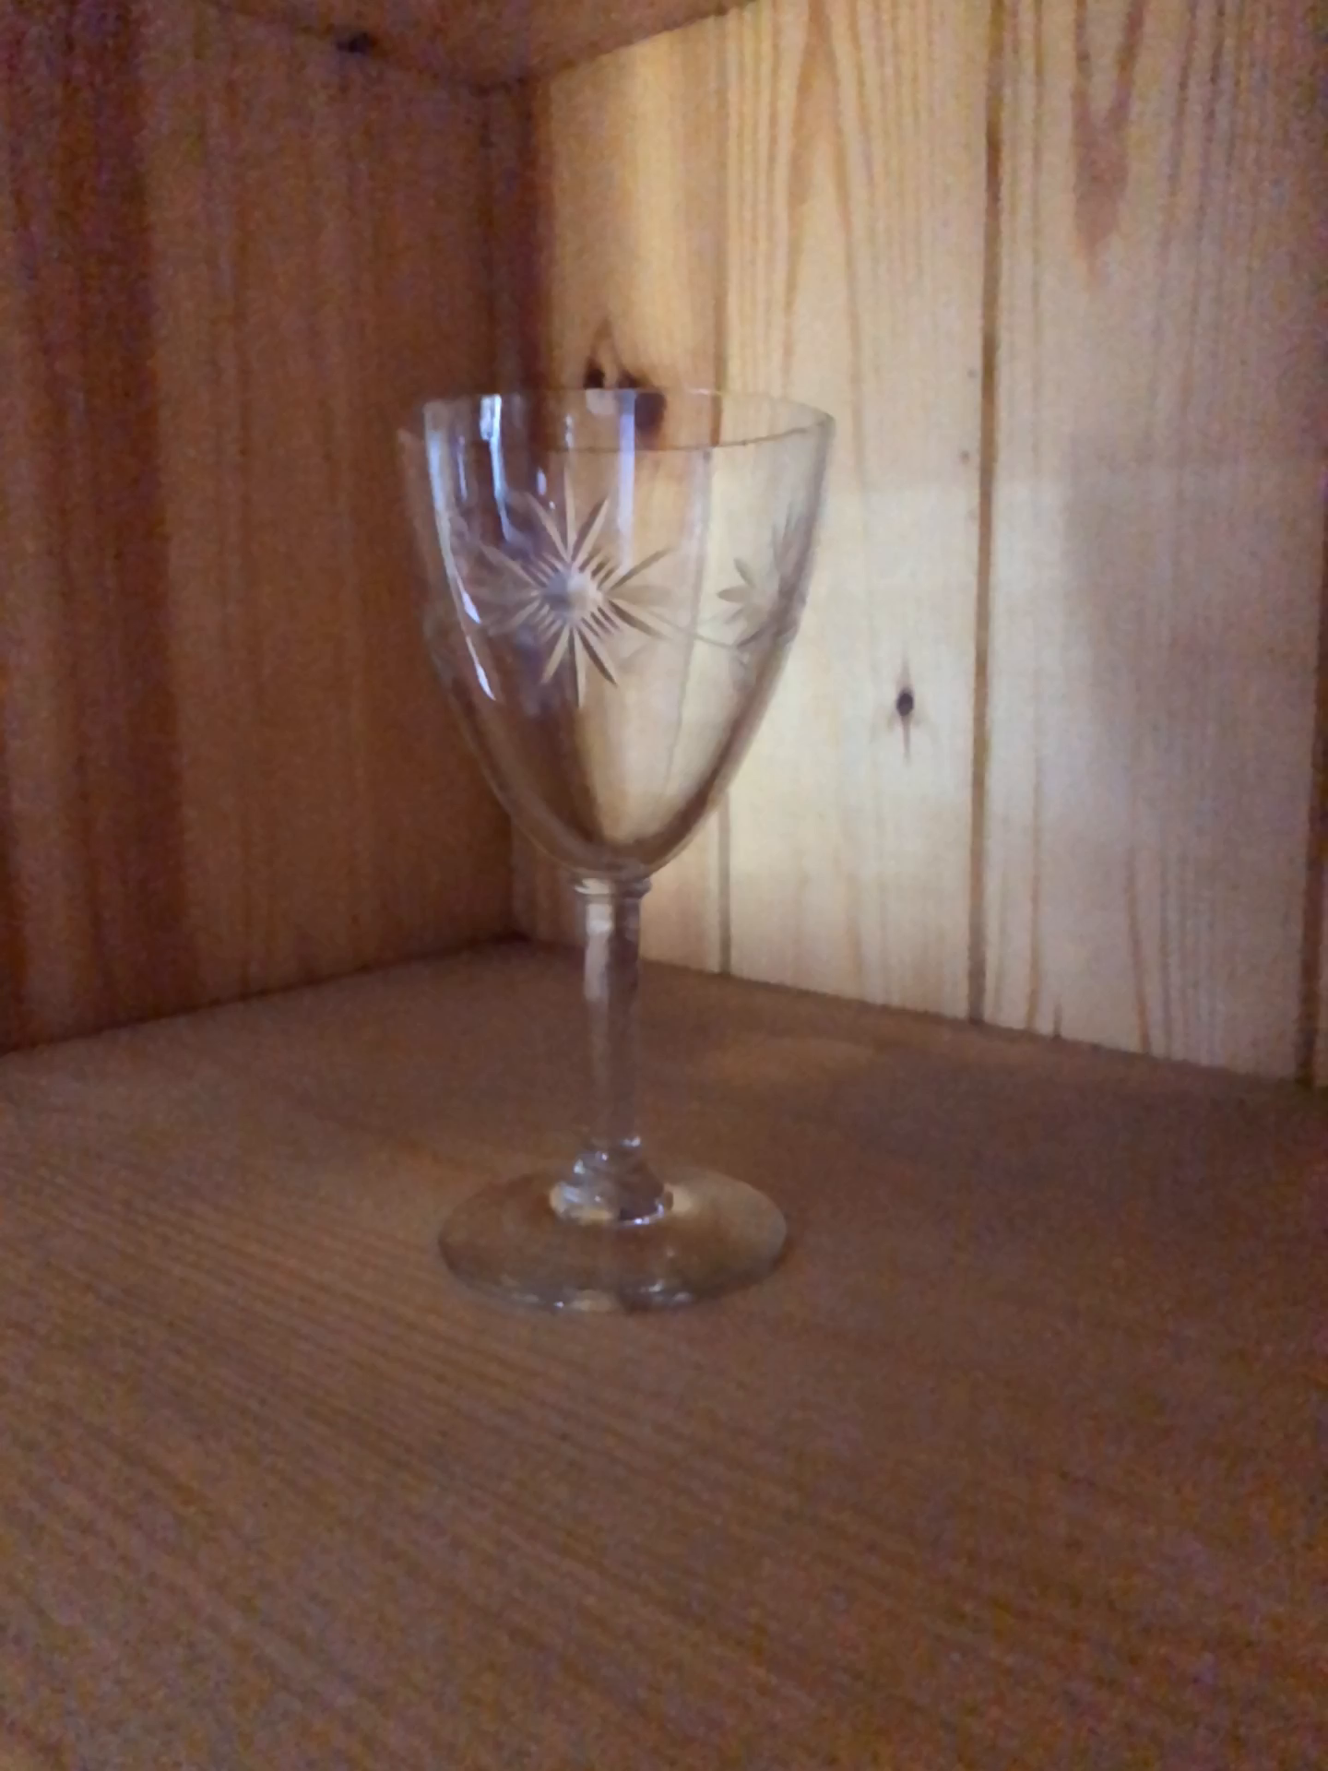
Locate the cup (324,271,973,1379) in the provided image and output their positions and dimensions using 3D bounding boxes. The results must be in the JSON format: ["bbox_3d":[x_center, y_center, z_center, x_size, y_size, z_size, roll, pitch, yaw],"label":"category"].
[{"bbox_3d":[-0.004,-0.012,0.233,0.070,0.140,0.070,0,9,0],"label":"cup"}]
